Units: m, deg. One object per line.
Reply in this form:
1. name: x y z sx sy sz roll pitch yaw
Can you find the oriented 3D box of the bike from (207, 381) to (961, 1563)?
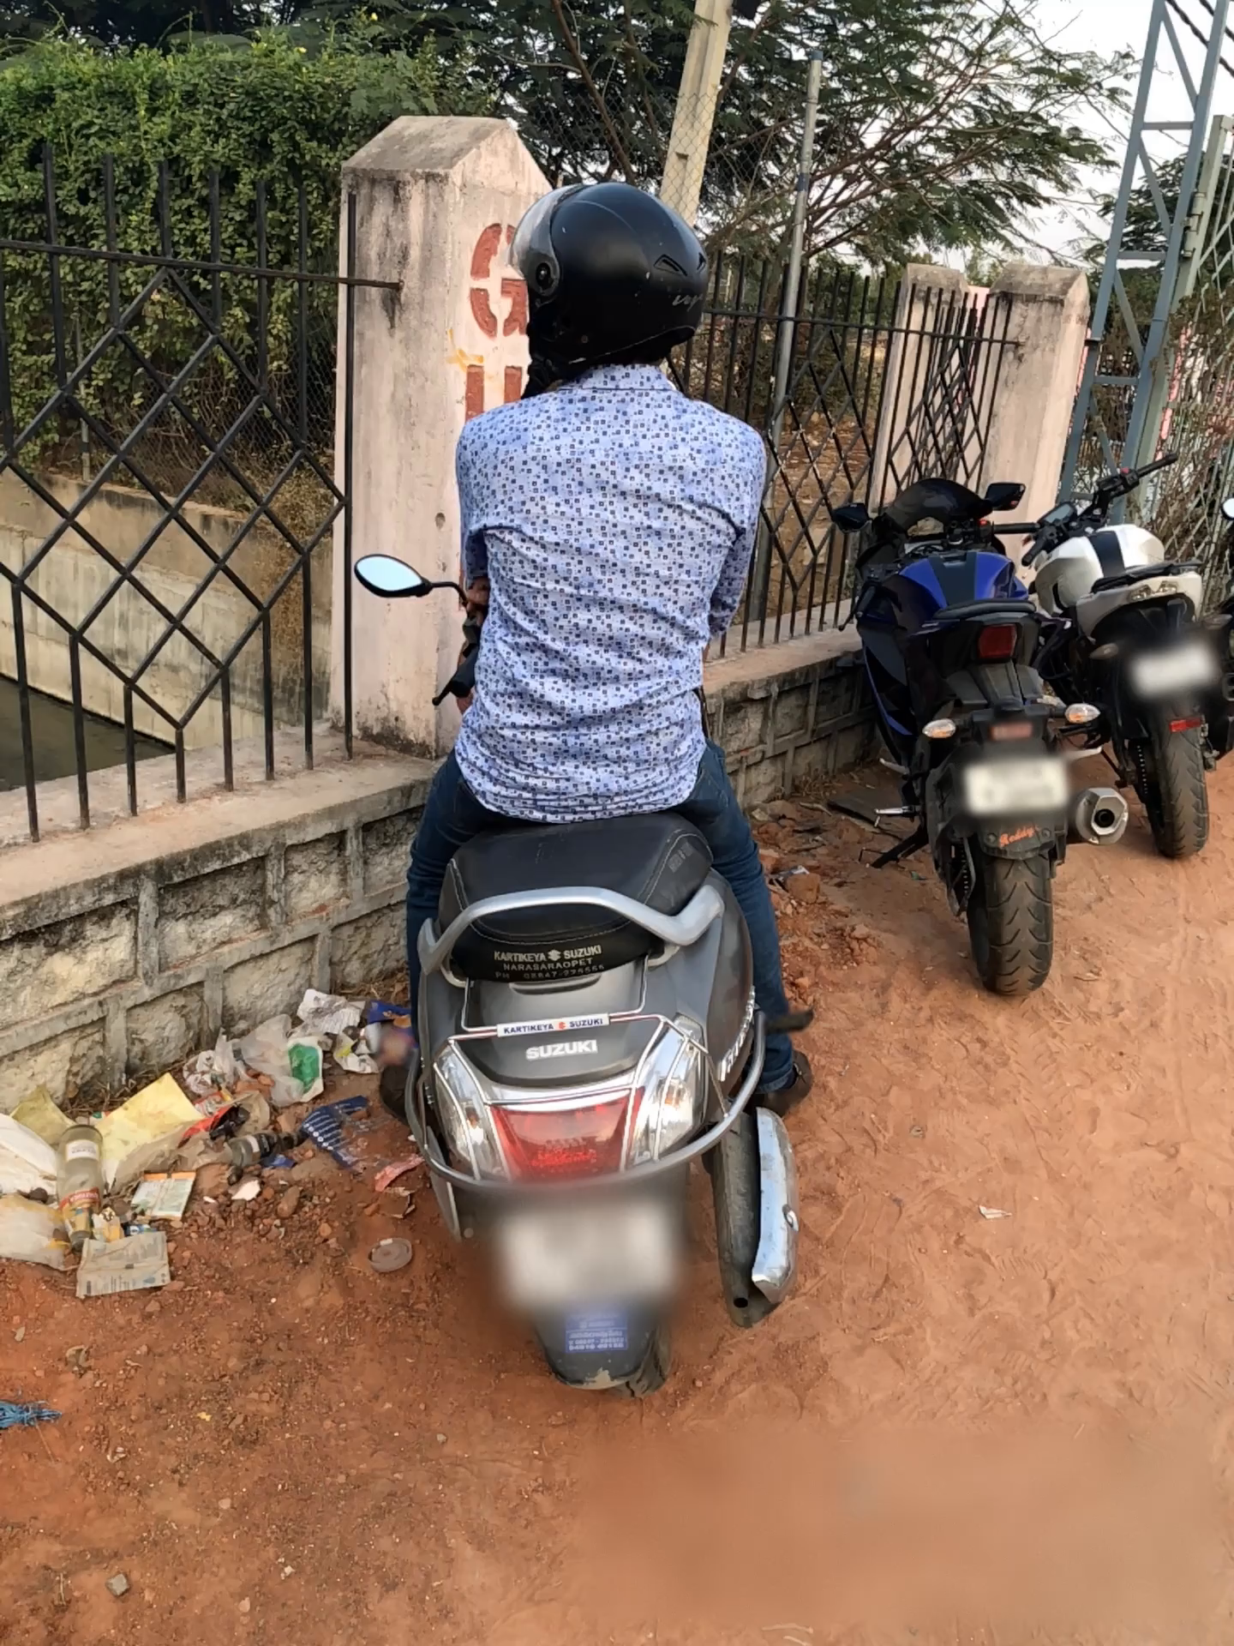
1. bike: -0.207 0.032 2.306 0.796 1.217 1.587 1 23 -12
